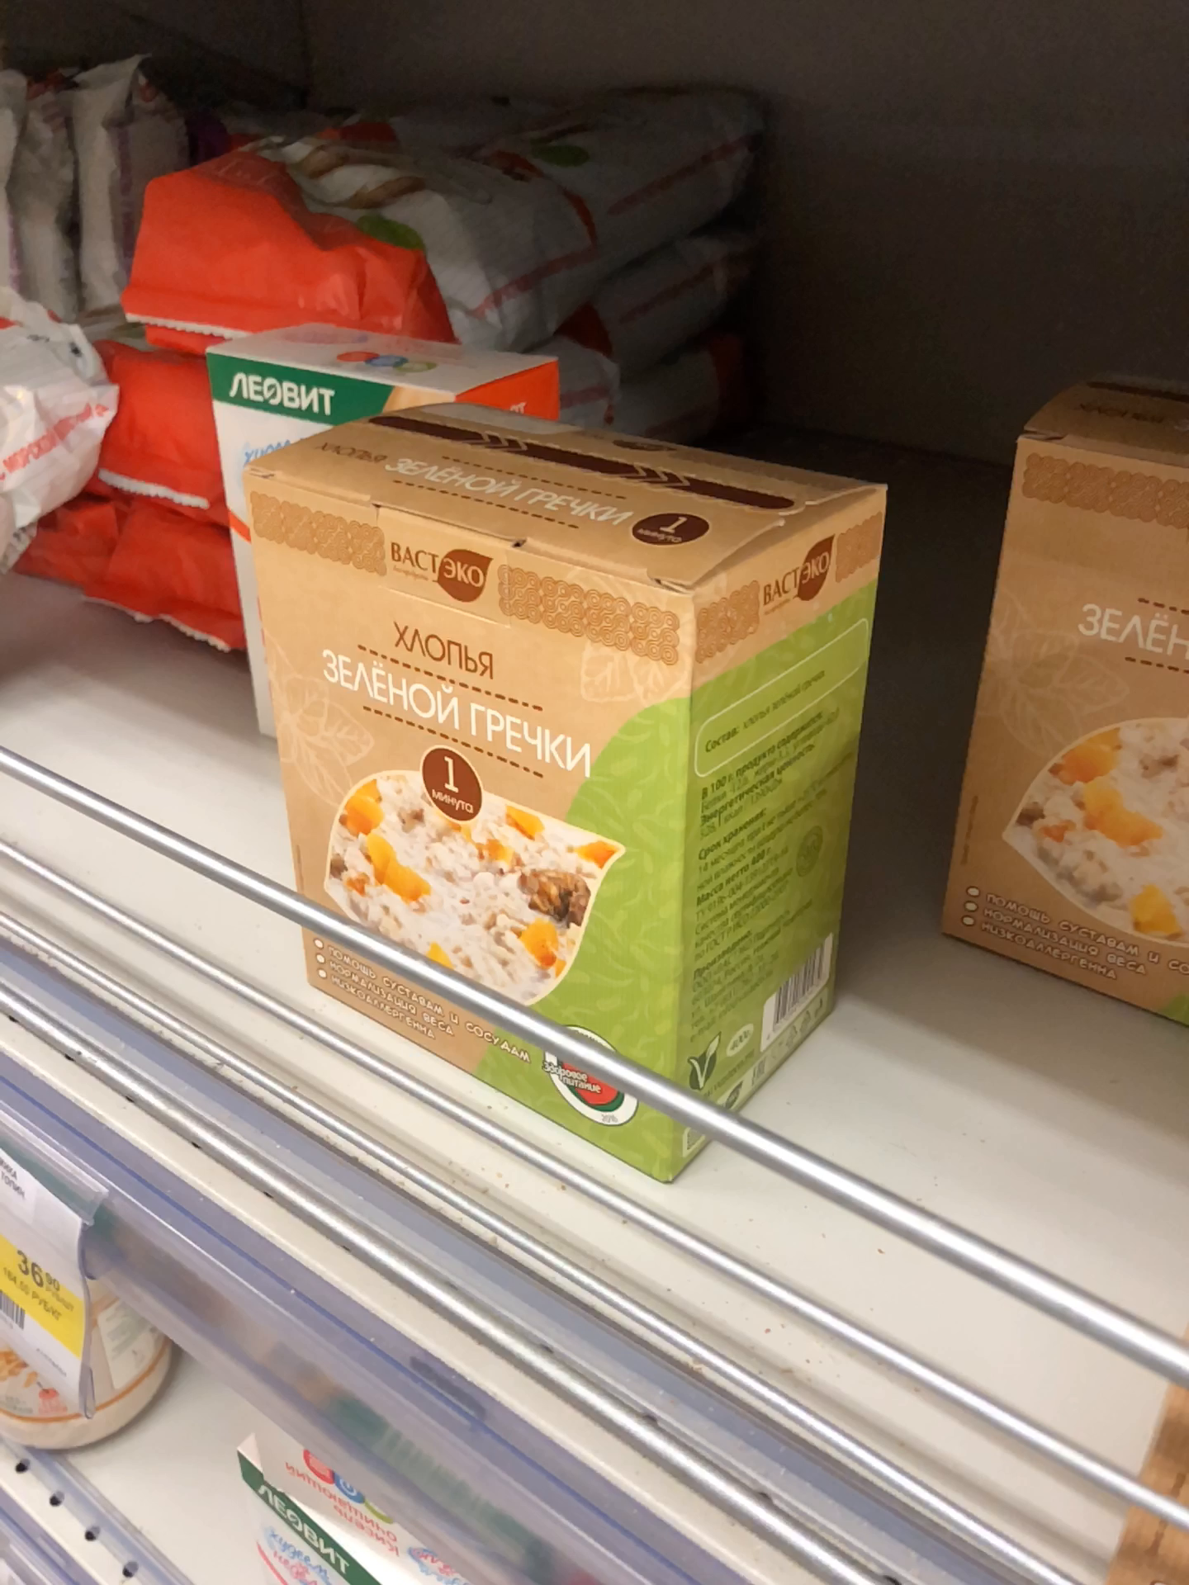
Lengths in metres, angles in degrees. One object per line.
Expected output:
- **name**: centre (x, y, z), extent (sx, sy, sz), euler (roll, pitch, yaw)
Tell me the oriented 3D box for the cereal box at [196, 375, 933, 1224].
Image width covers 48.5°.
- **cereal box**: centre (-0.007, -0.007, 0.320), extent (0.130, 0.149, 0.090), euler (21, 37, 32)
